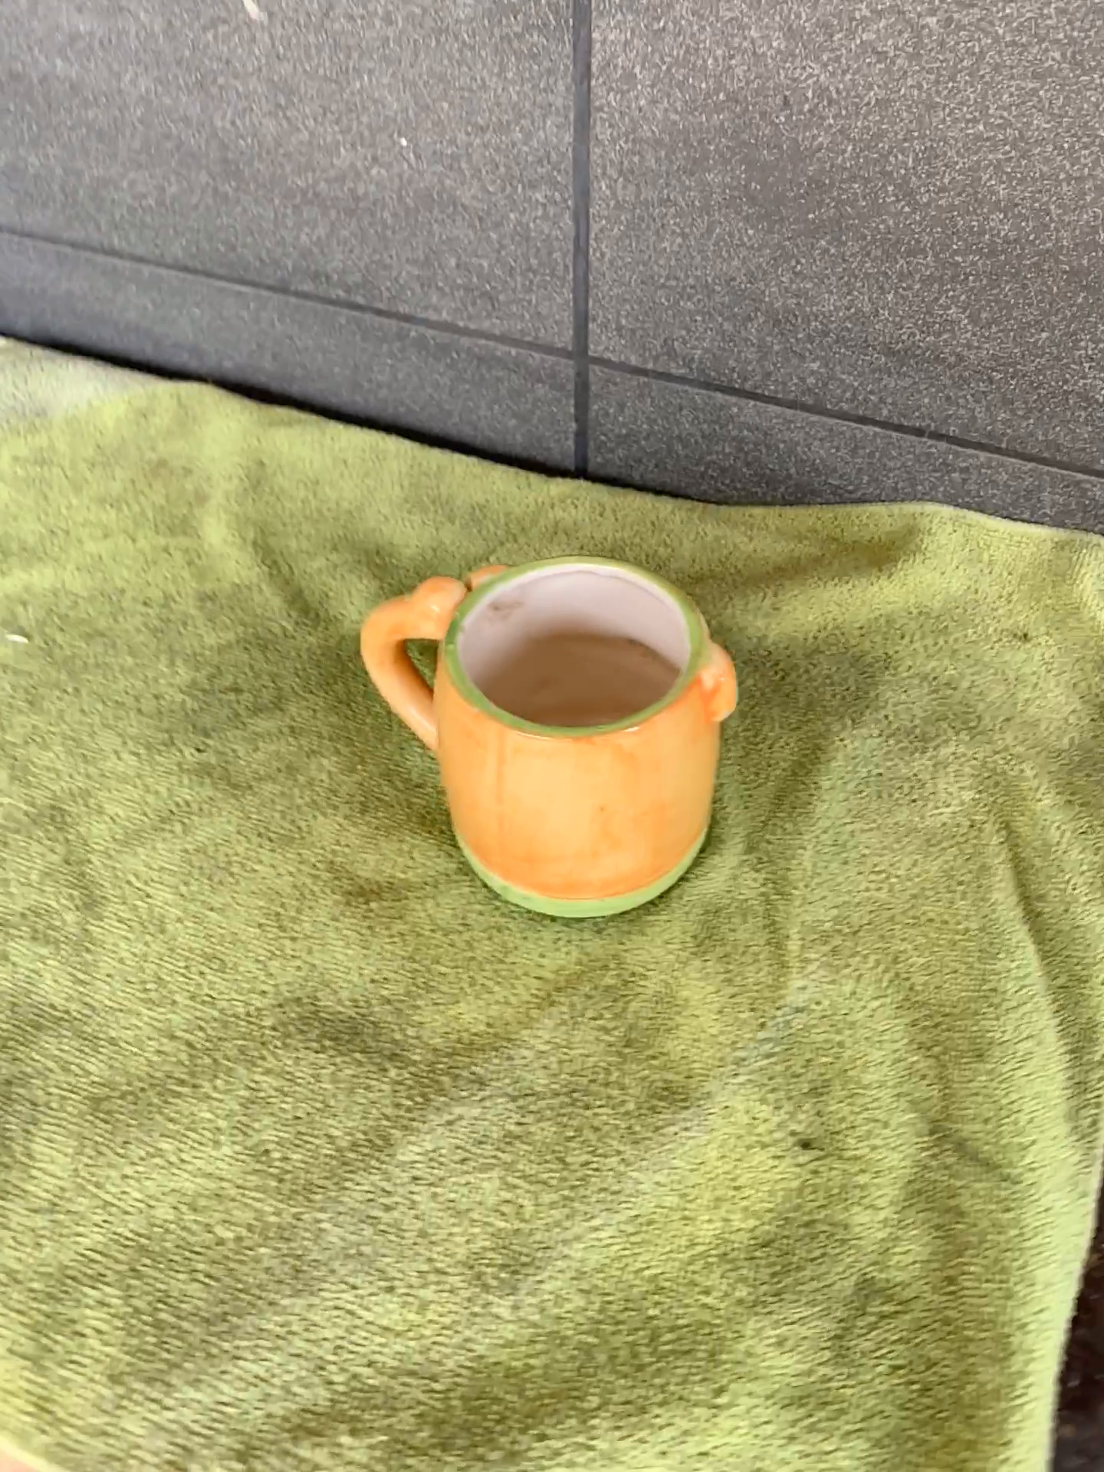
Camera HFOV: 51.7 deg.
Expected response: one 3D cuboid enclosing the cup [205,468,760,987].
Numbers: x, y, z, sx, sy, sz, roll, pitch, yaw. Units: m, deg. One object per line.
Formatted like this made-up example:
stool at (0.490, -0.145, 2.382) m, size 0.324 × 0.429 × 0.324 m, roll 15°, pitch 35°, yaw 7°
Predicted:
cup at (-0.017, -0.004, 0.349) m, size 0.130 × 0.100 × 0.080 m, roll 17°, pitch 50°, yaw 16°
